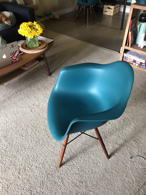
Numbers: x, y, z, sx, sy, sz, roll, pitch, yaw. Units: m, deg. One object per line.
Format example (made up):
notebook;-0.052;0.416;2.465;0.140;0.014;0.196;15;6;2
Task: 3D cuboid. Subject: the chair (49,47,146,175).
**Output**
chair;0.119;0.111;1.238;0.560;0.784;0.584;-3;42;-7
